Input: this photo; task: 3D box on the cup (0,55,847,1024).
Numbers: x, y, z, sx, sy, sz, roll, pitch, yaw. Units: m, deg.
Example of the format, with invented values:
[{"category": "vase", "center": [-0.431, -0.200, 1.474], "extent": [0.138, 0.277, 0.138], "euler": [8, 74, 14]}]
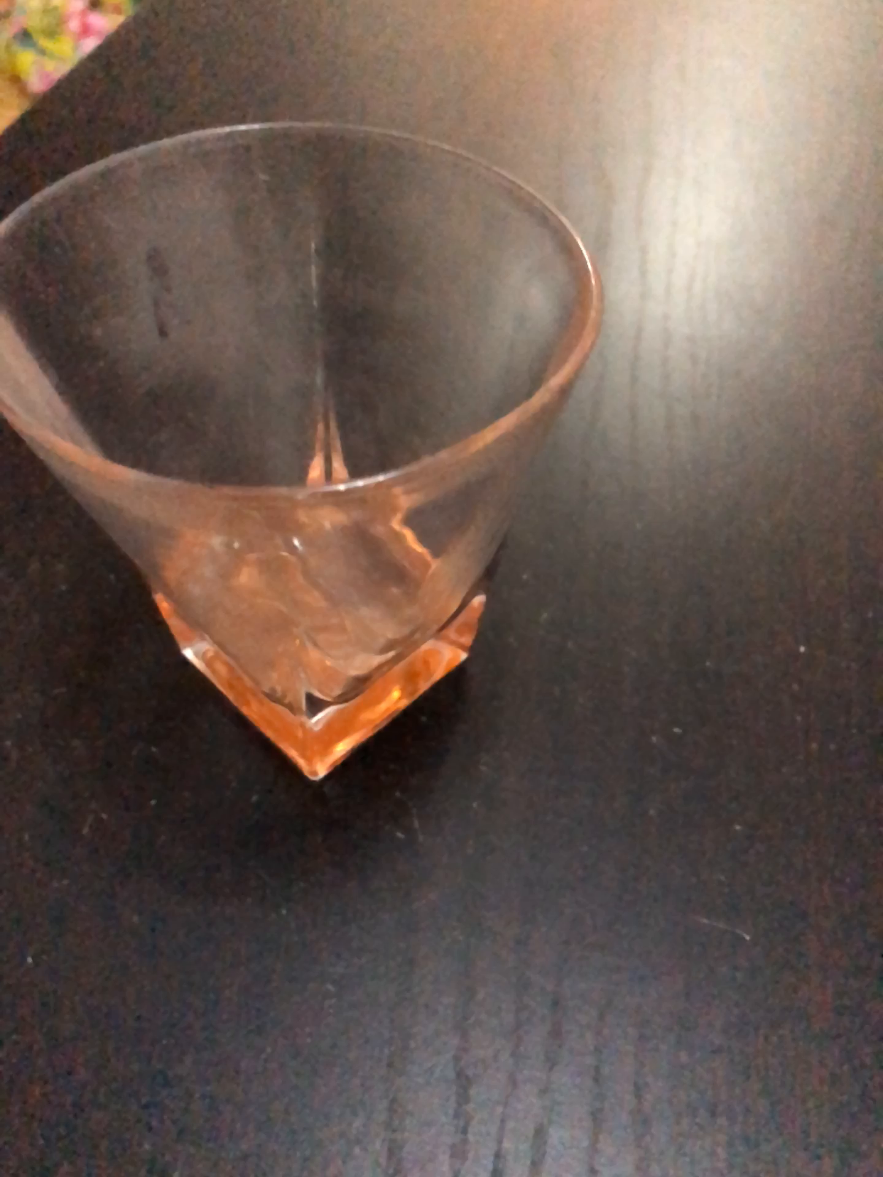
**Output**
[{"category": "cup", "center": [-0.020, -0.015, 0.186], "extent": [0.110, 0.099, 0.110], "euler": [2, 50, -2]}]
